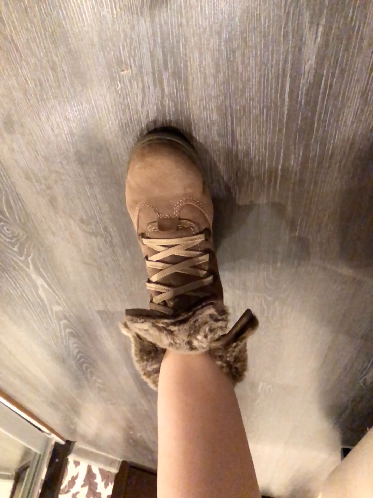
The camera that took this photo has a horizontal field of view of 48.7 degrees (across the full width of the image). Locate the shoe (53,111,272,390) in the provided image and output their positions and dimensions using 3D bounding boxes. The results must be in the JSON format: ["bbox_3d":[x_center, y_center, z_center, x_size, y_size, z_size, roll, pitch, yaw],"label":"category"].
[{"bbox_3d":[0.007,0.024,0.417,0.120,0.149,0.251,-5,141,18],"label":"shoe"}]
